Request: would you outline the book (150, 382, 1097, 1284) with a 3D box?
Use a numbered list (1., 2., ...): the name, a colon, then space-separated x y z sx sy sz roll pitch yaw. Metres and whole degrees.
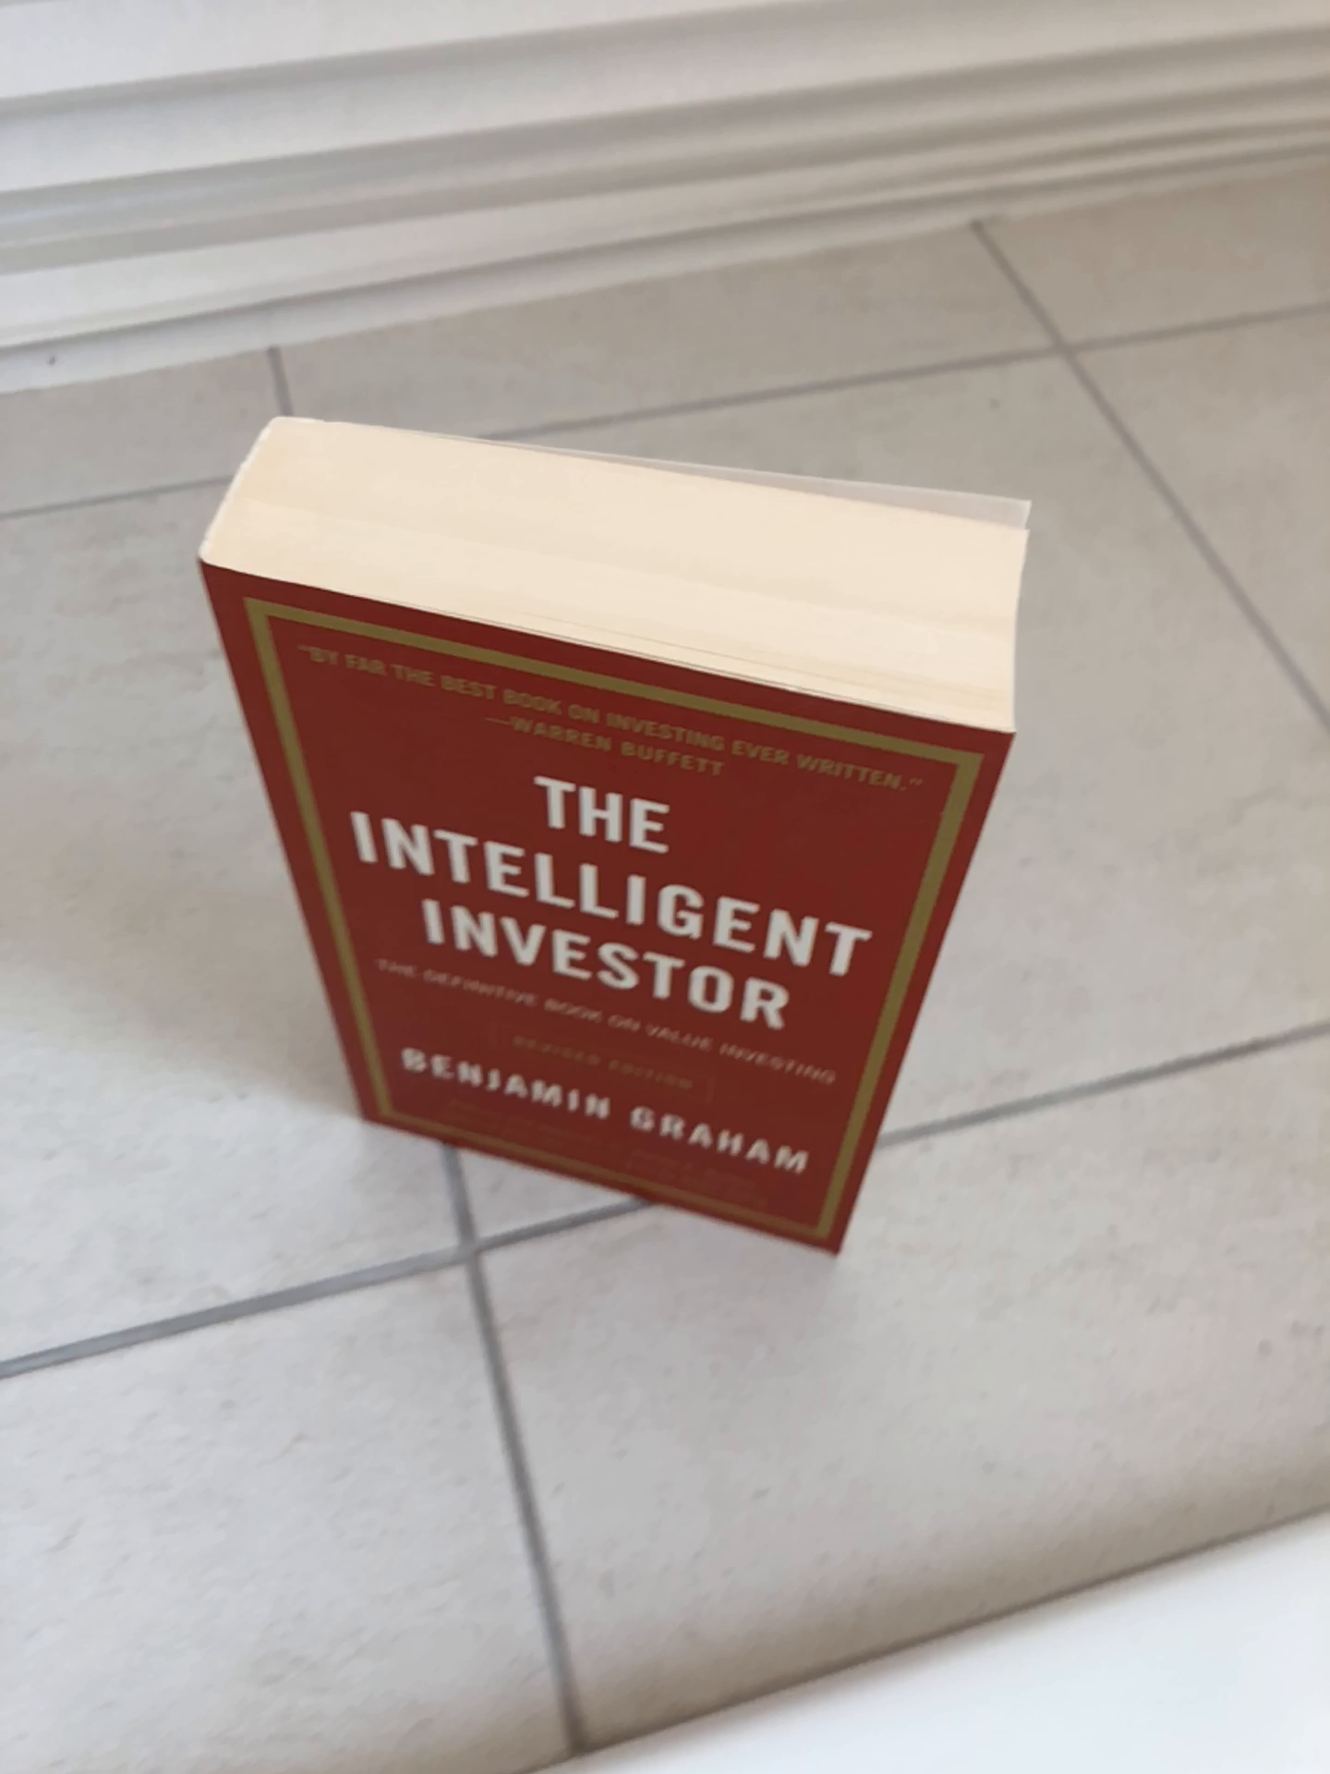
1. book: -0.007 0.005 0.334 0.149 0.206 0.057 13 55 8
